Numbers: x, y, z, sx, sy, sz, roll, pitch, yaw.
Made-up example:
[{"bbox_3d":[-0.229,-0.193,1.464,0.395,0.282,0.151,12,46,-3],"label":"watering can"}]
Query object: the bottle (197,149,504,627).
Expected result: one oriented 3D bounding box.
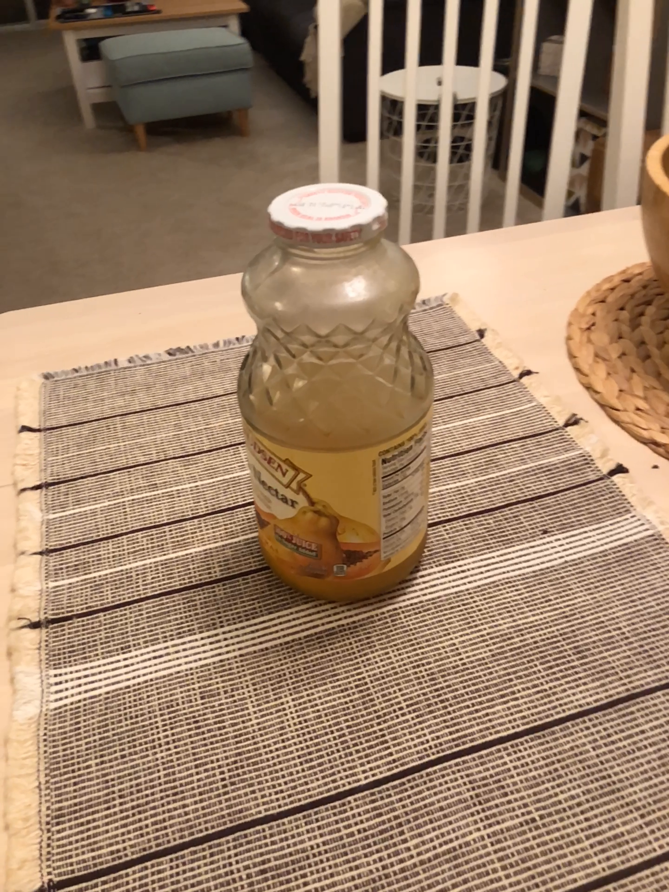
[{"bbox_3d":[0.004,-0.024,0.366,0.100,0.199,0.101,-1,39,1],"label":"bottle"}]
